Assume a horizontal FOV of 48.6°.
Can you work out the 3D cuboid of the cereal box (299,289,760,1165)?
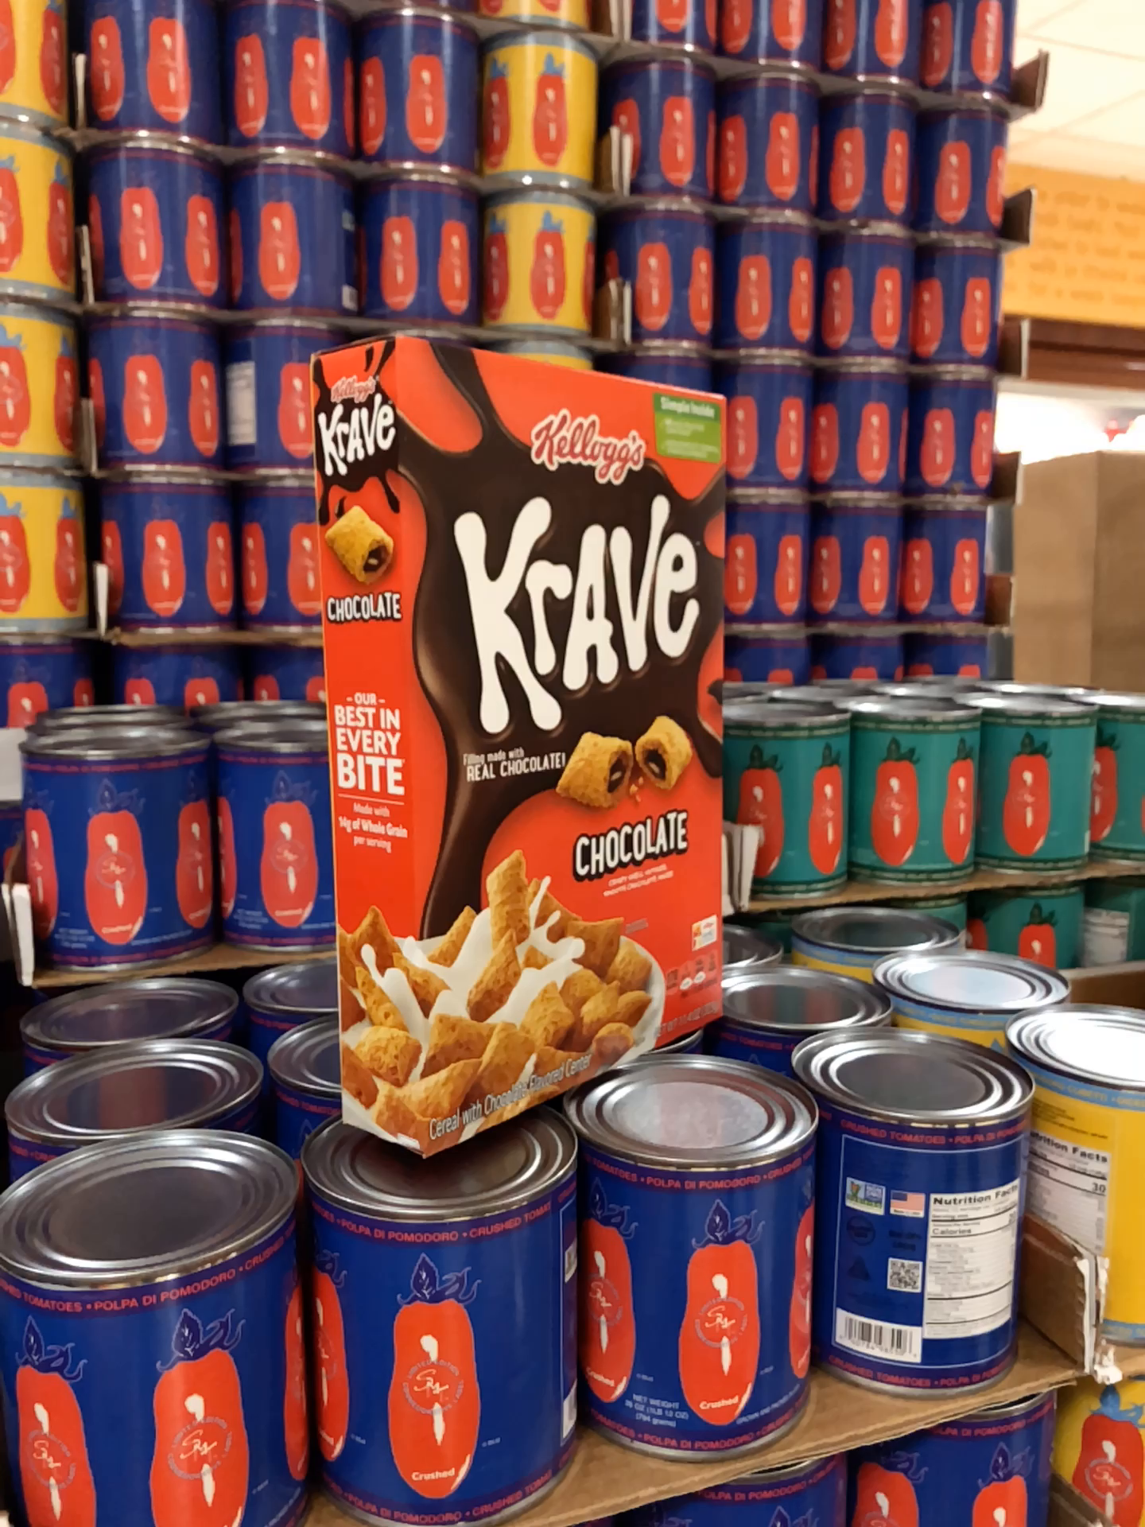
[{"bbox_3d":[-0.005,-0.020,0.518,0.060,0.289,0.211,5,9,38],"label":"cereal box"}]
